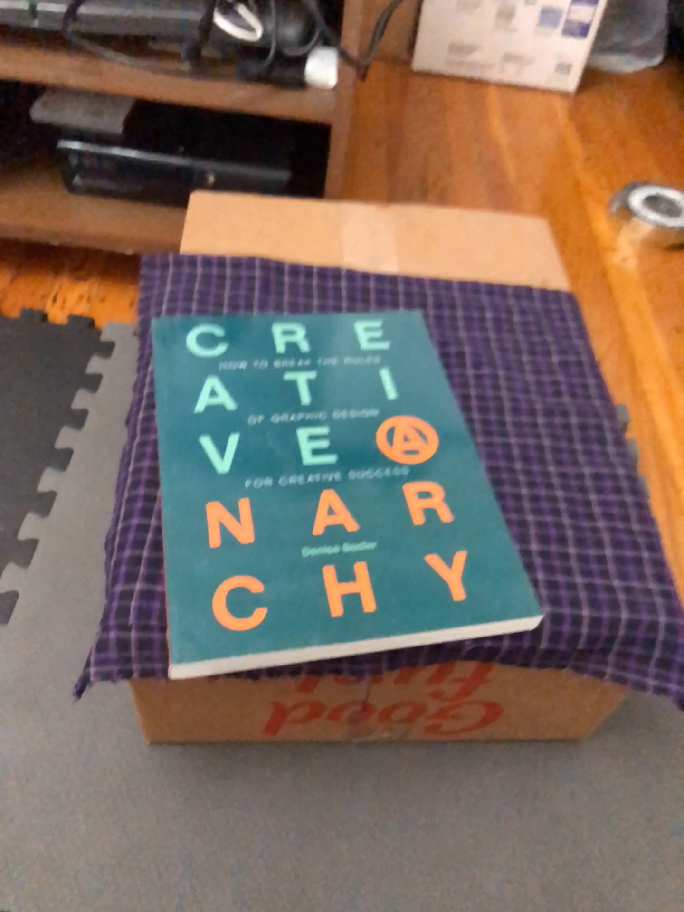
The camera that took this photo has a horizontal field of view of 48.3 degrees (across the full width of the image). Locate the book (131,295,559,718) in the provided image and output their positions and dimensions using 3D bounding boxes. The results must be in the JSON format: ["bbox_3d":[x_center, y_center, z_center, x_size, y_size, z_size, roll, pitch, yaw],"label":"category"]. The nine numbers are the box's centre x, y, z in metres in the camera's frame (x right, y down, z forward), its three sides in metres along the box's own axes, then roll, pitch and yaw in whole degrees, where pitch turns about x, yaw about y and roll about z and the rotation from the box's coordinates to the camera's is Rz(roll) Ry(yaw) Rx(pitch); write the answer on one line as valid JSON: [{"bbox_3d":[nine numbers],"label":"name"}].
[{"bbox_3d":[-0.019,0.003,0.496,0.220,0.020,0.301,-5,51,-12],"label":"book"}]
